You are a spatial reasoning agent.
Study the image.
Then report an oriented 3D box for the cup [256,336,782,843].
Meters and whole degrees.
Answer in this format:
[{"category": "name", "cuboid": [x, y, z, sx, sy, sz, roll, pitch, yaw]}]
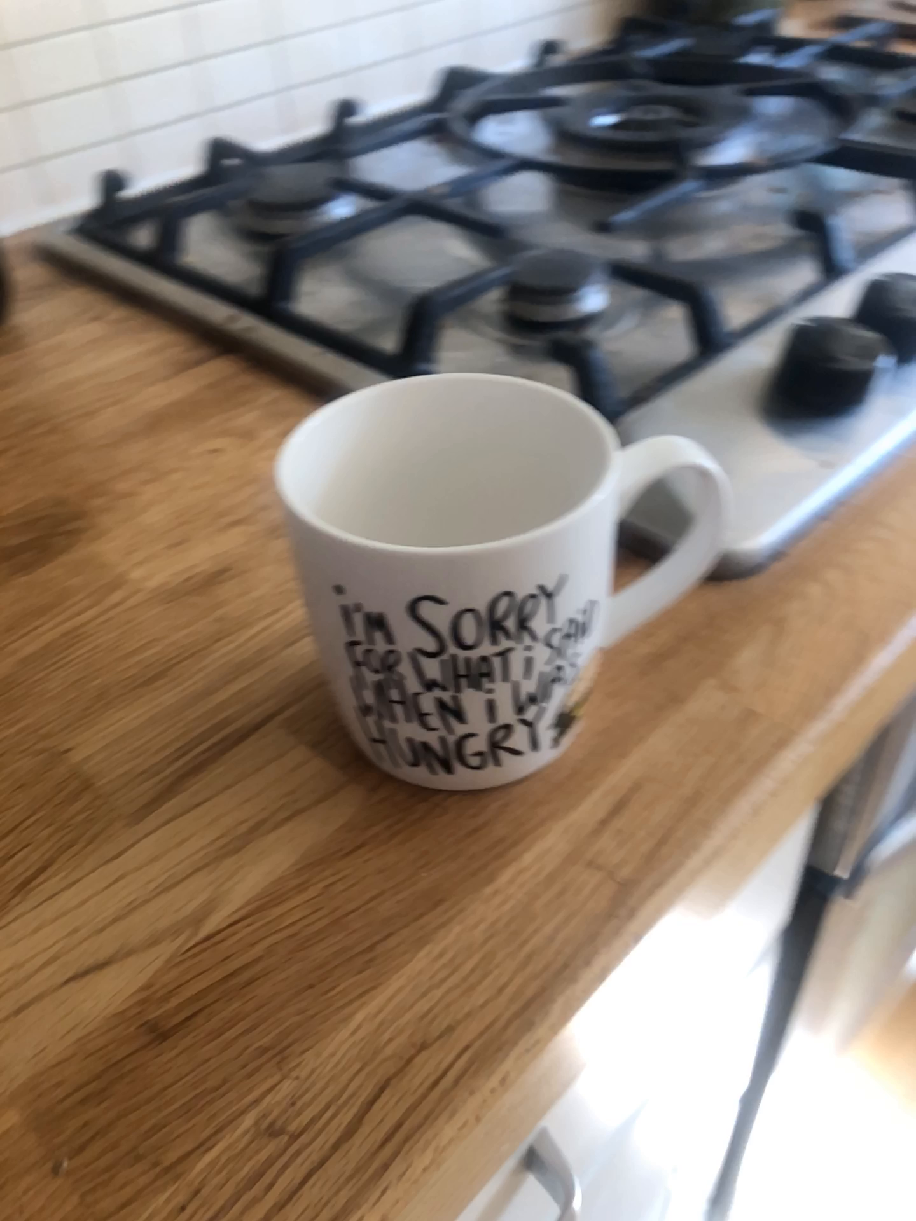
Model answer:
[{"category": "cup", "cuboid": [0.011, -0.010, 0.288, 0.114, 0.087, 0.091, -11, 41, -8]}]
